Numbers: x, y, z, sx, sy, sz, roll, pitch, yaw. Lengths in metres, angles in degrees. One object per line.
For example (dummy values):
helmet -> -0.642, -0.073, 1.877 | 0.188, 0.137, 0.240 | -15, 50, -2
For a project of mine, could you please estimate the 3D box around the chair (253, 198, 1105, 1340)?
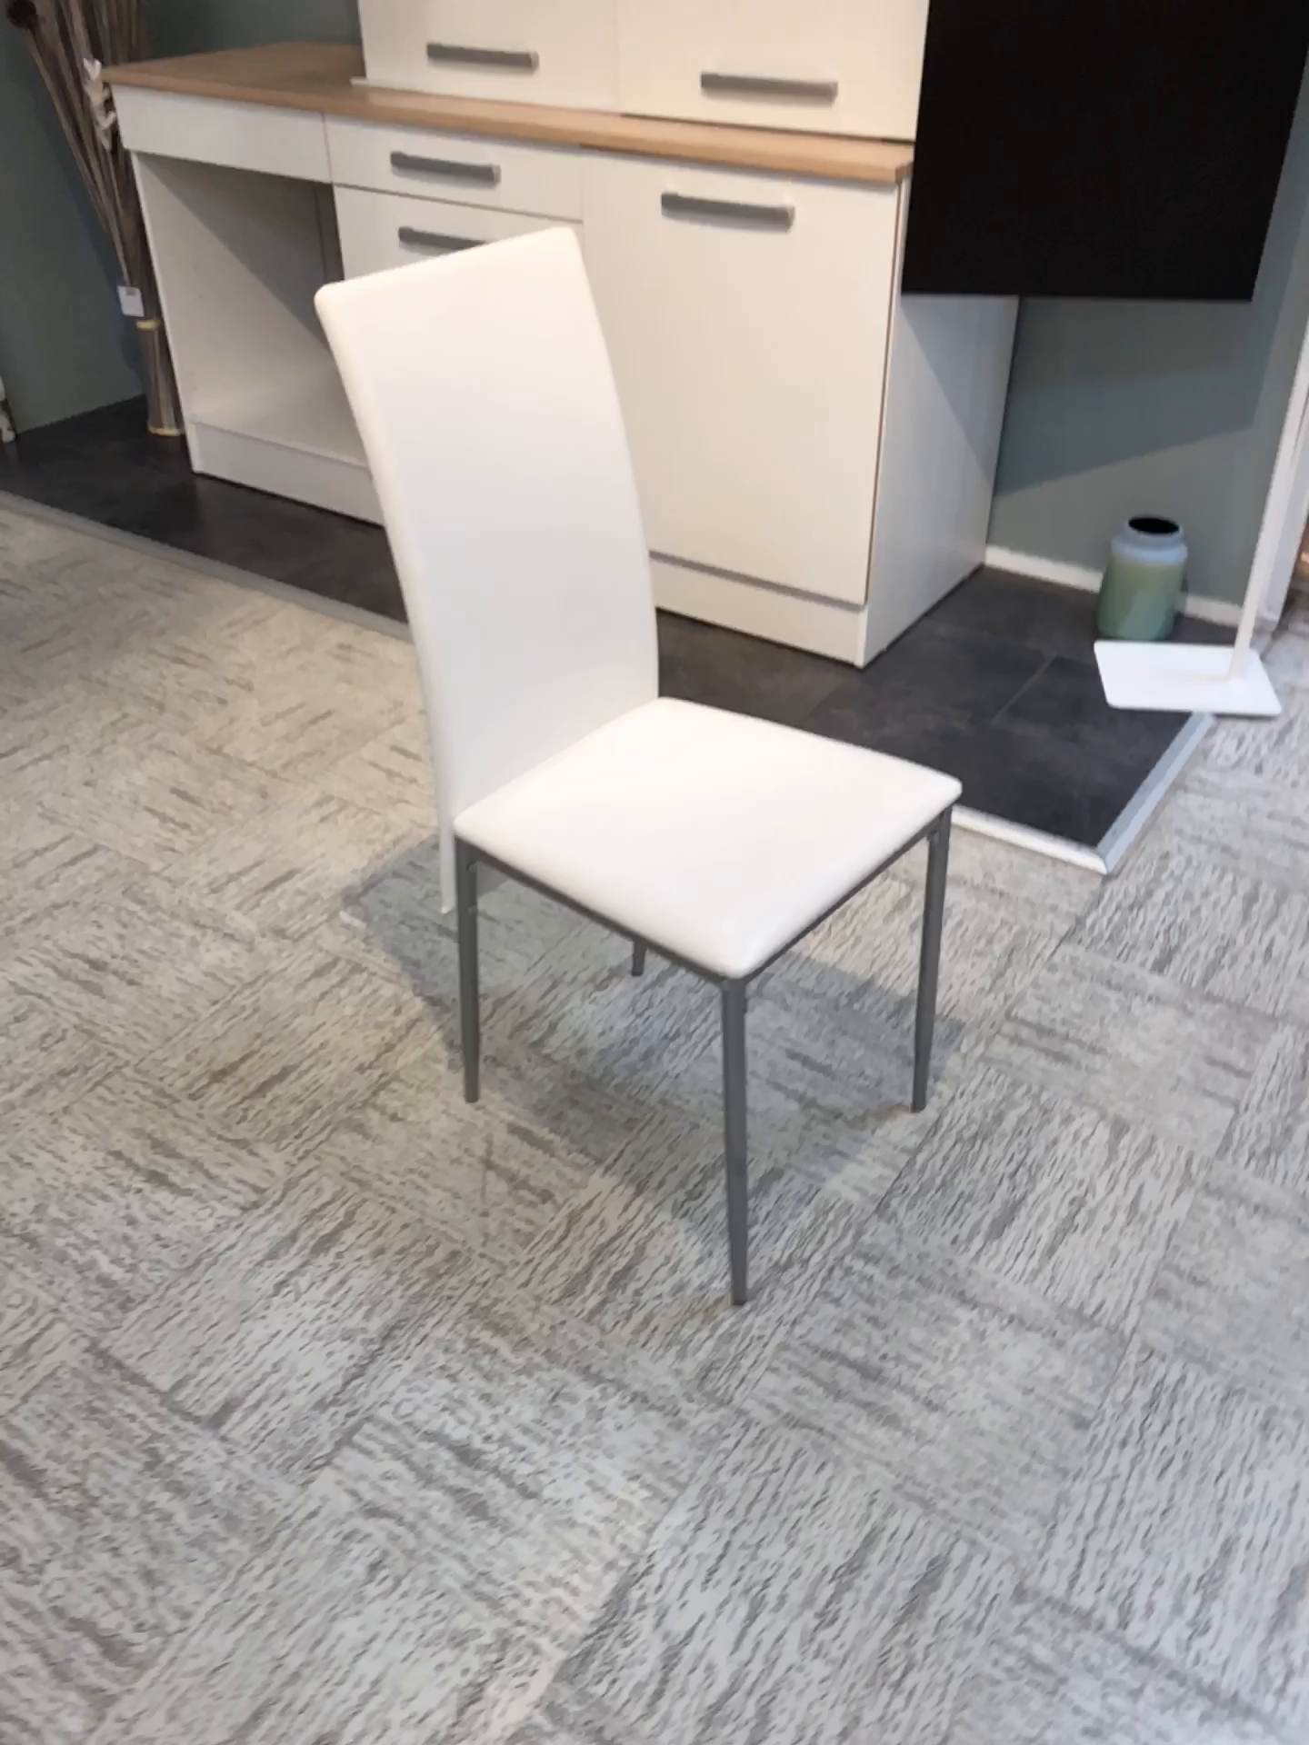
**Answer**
chair -> 0.020, -0.116, 1.490 | 0.550, 0.944, 0.473 | 26, 43, 32
